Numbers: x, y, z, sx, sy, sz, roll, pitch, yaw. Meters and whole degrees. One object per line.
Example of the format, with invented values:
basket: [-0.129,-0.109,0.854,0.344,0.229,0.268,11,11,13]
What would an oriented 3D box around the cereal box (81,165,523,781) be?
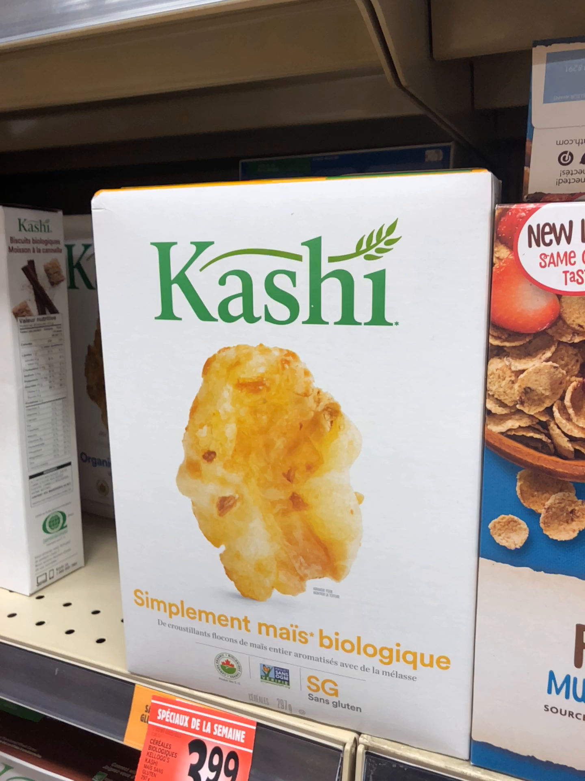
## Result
cereal box: [0.004,0.034,0.334,0.200,0.269,0.060,4,13,21]
